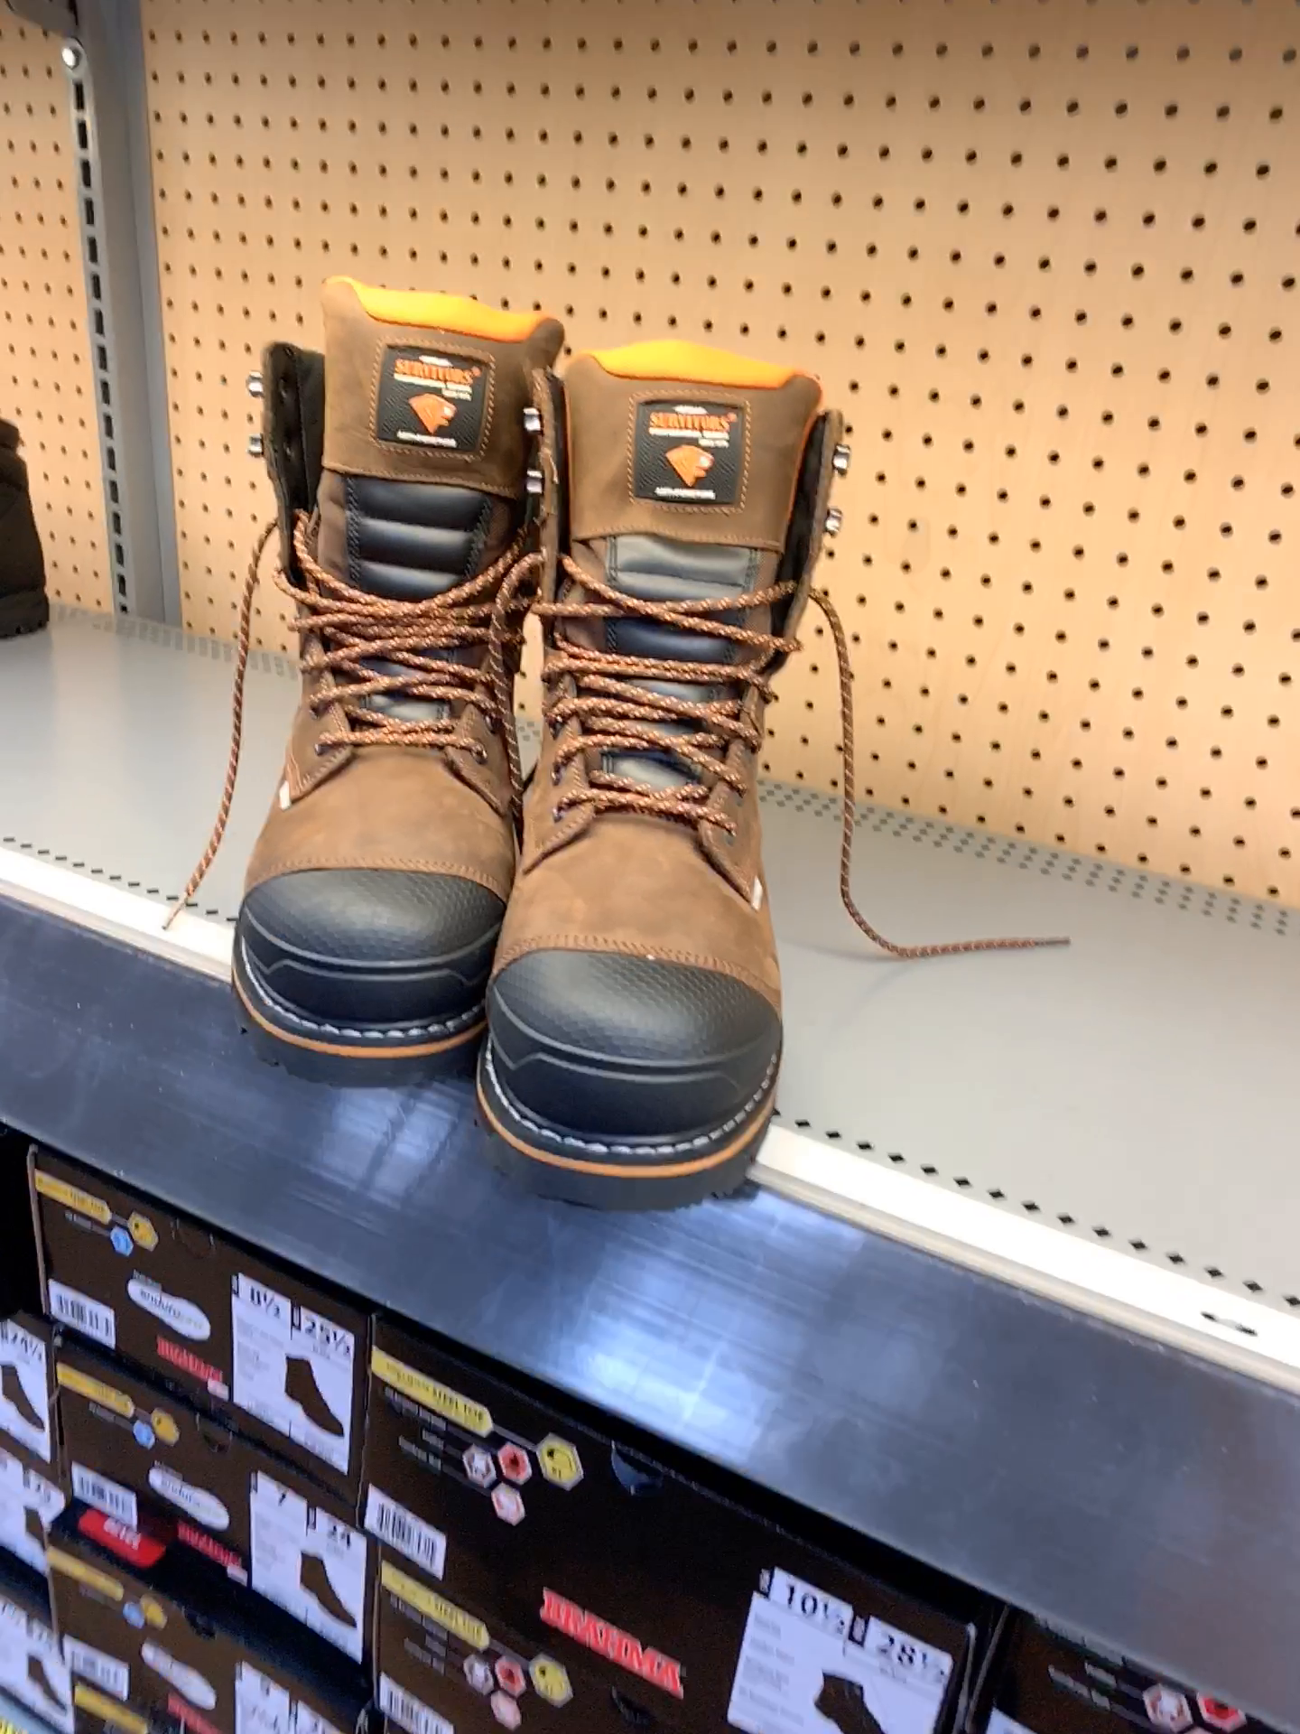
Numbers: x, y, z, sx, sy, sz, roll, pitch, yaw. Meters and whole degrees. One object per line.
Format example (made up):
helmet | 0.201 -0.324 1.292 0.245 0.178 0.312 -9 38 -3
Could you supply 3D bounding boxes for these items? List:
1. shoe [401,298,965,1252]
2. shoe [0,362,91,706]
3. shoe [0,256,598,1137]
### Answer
shoe | 0.004 -0.068 0.514 0.134 0.259 0.319 5 25 0
shoe | -0.540 -0.236 0.893 0.147 0.170 0.258 17 27 24
shoe | -0.115 -0.101 0.567 0.136 0.279 0.314 6 25 2
